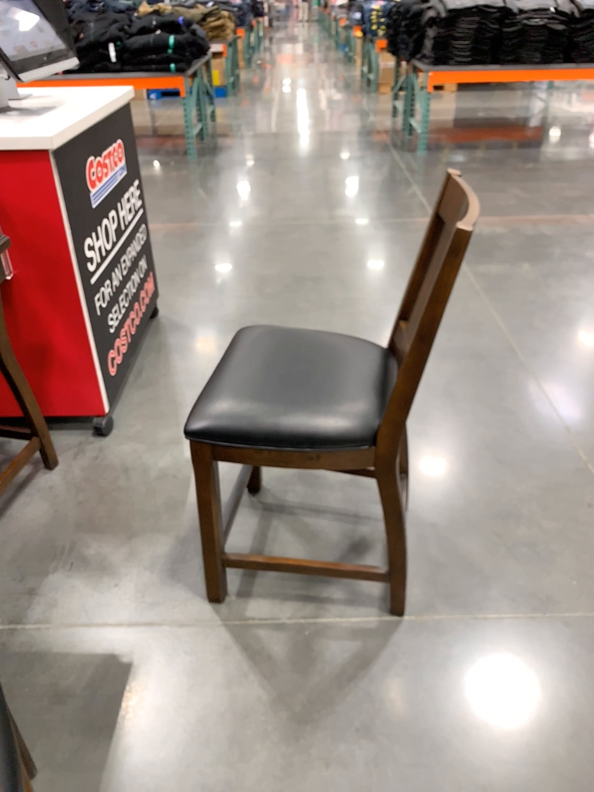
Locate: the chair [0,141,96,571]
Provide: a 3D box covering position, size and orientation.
[{"bbox_3d":[-1.074,-0.120,1.674,0.654,0.952,0.600,5,34,8],"label":"chair"}]

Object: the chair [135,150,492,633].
[{"bbox_3d":[0.057,-0.001,1.500,0.587,1.022,0.527,4,33,7],"label":"chair"}]

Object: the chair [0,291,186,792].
[{"bbox_3d":[-0.576,0.514,0.727,0.545,1.022,0.589,-25,40,-32],"label":"chair"}]
